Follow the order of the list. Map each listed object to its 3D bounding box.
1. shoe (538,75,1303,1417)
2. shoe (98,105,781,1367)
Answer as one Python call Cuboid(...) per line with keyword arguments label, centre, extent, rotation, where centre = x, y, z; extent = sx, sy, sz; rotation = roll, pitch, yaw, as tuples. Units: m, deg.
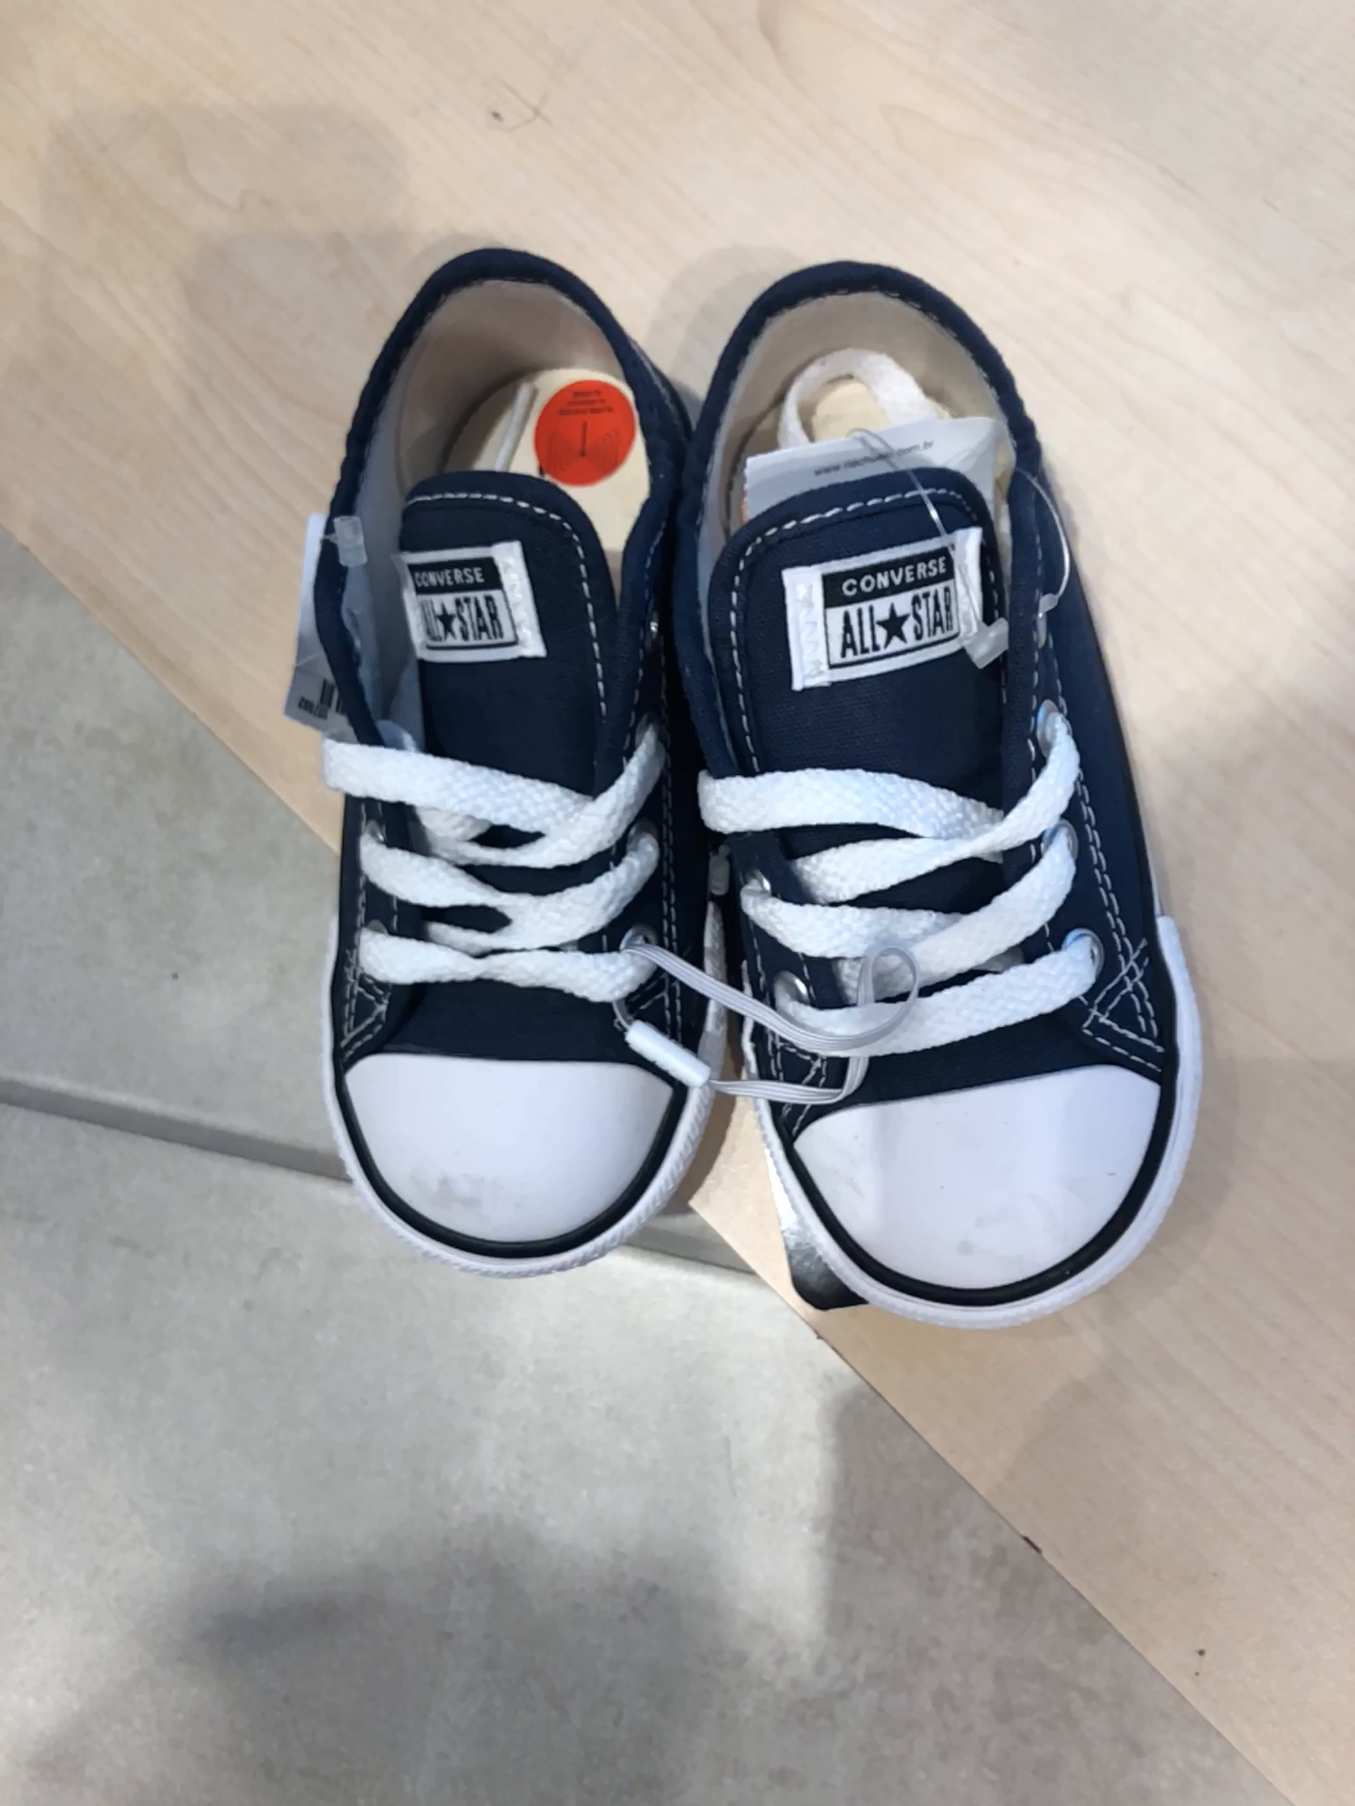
Cuboid(label="shoe", centre=(0.034, -0.019, 0.231), extent=(0.080, 0.060, 0.170), rotation=(-7, 85, 9))
Cuboid(label="shoe", centre=(-0.031, -0.024, 0.239), extent=(0.080, 0.060, 0.170), rotation=(3, 87, 10))
